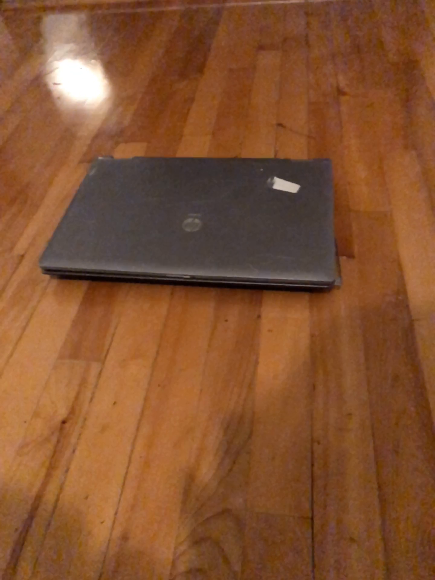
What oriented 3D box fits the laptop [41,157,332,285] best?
[{"bbox_3d":[-0.029,-0.109,0.664,0.363,0.010,0.242,3,49,9],"label":"laptop"}]
